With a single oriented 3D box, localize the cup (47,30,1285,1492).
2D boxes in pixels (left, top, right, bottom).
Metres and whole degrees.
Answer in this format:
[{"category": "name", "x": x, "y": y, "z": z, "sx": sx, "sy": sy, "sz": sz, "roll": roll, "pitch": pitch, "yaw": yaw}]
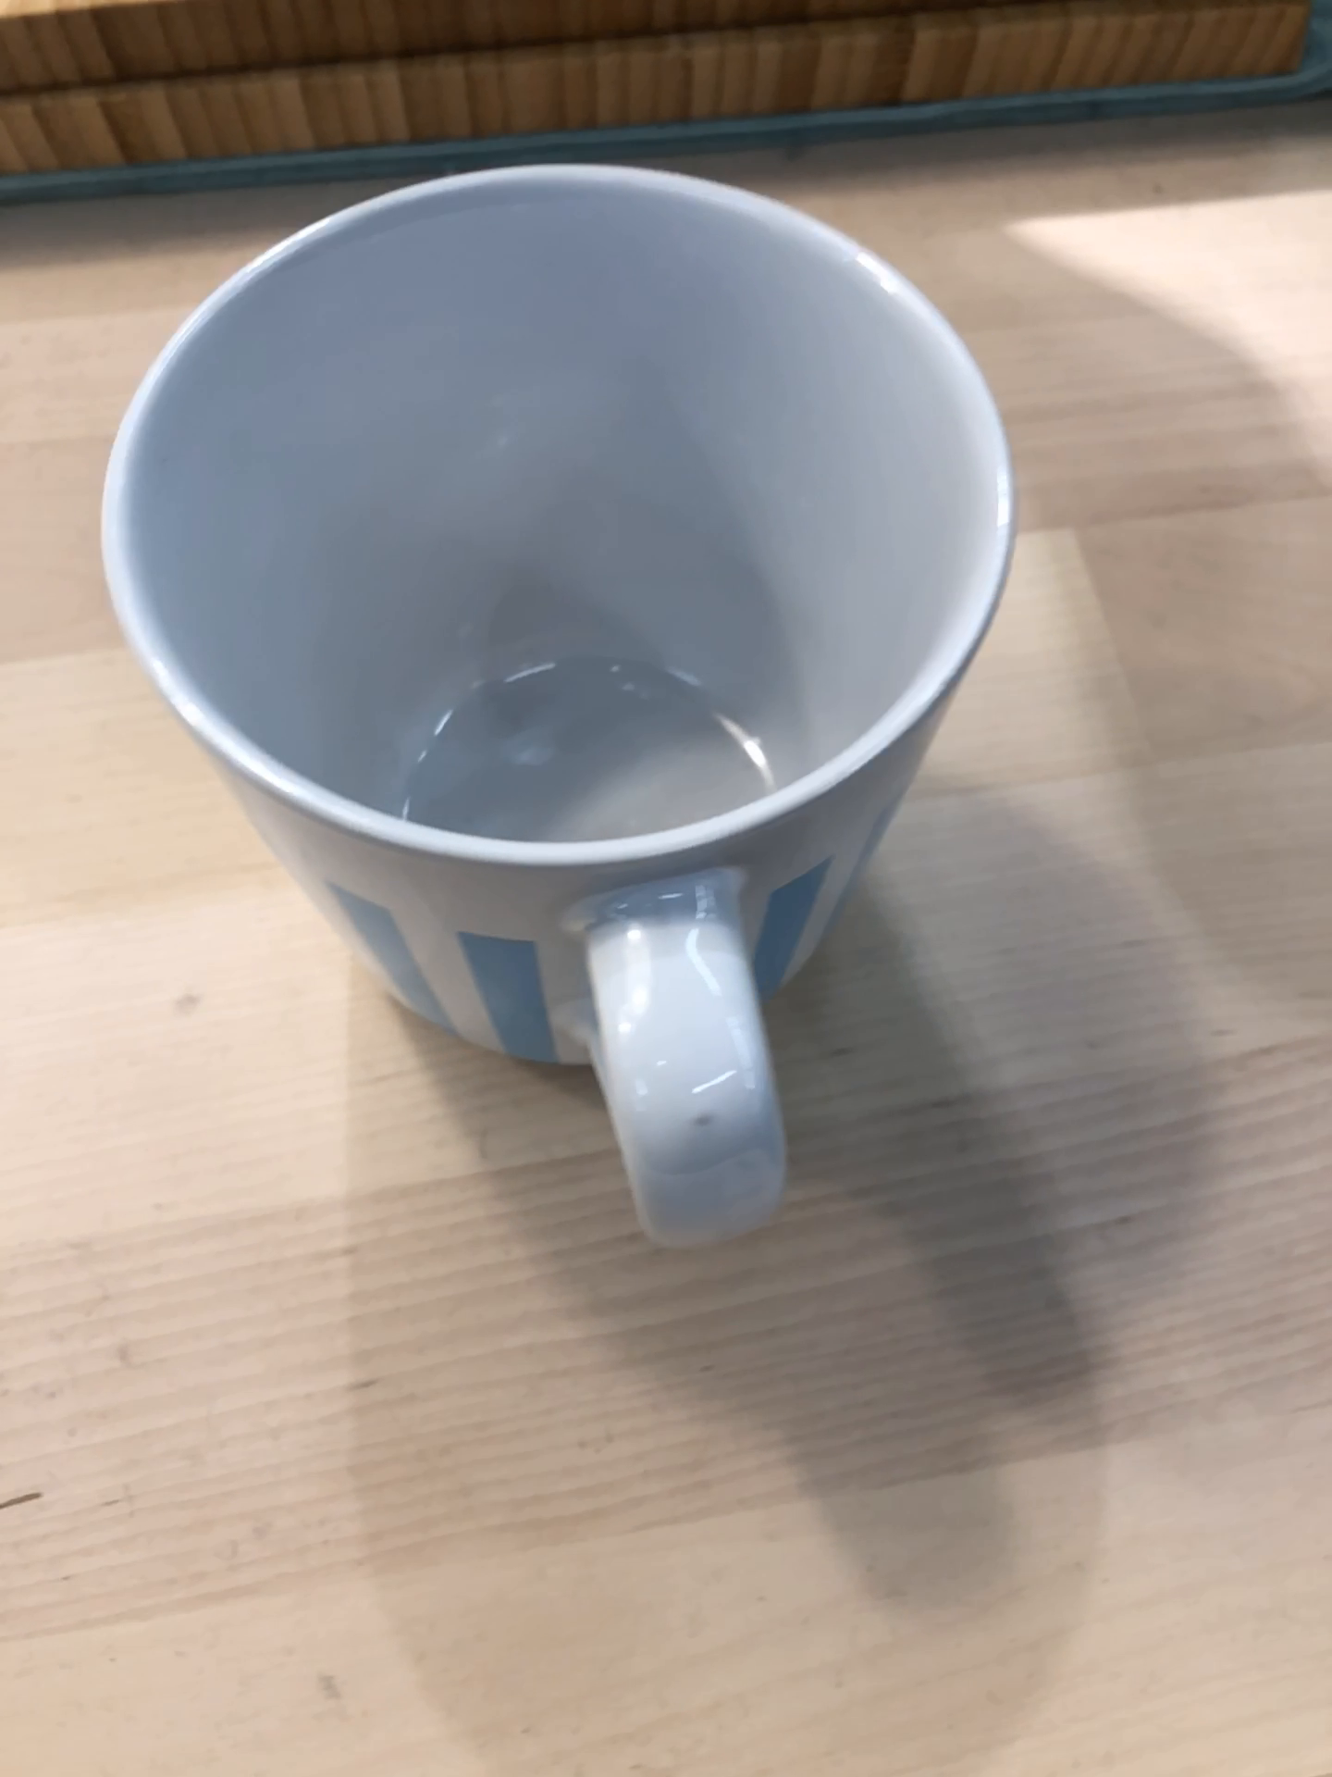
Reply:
[{"category": "cup", "x": -0.009, "y": -0.011, "z": 0.158, "sx": 0.080, "sy": 0.080, "sz": 0.120, "roll": -8, "pitch": 63, "yaw": -4}]
